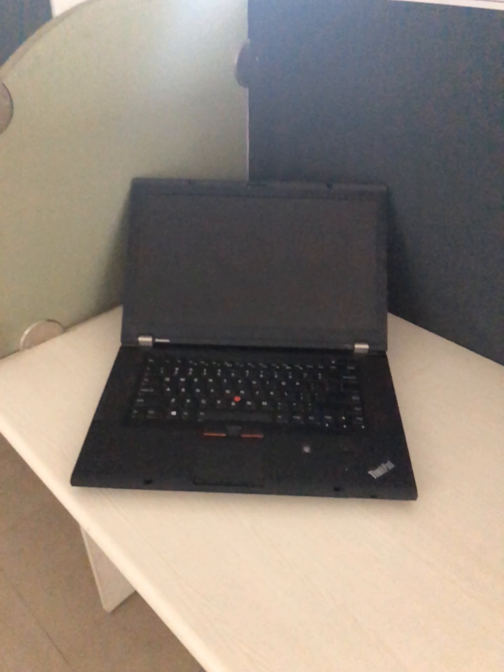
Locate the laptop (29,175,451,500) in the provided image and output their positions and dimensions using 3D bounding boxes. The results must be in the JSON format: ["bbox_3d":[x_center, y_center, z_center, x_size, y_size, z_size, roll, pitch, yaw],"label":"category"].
[{"bbox_3d":[-0.001,-0.033,0.676,0.355,0.167,0.407,2,38,2],"label":"laptop"}]
